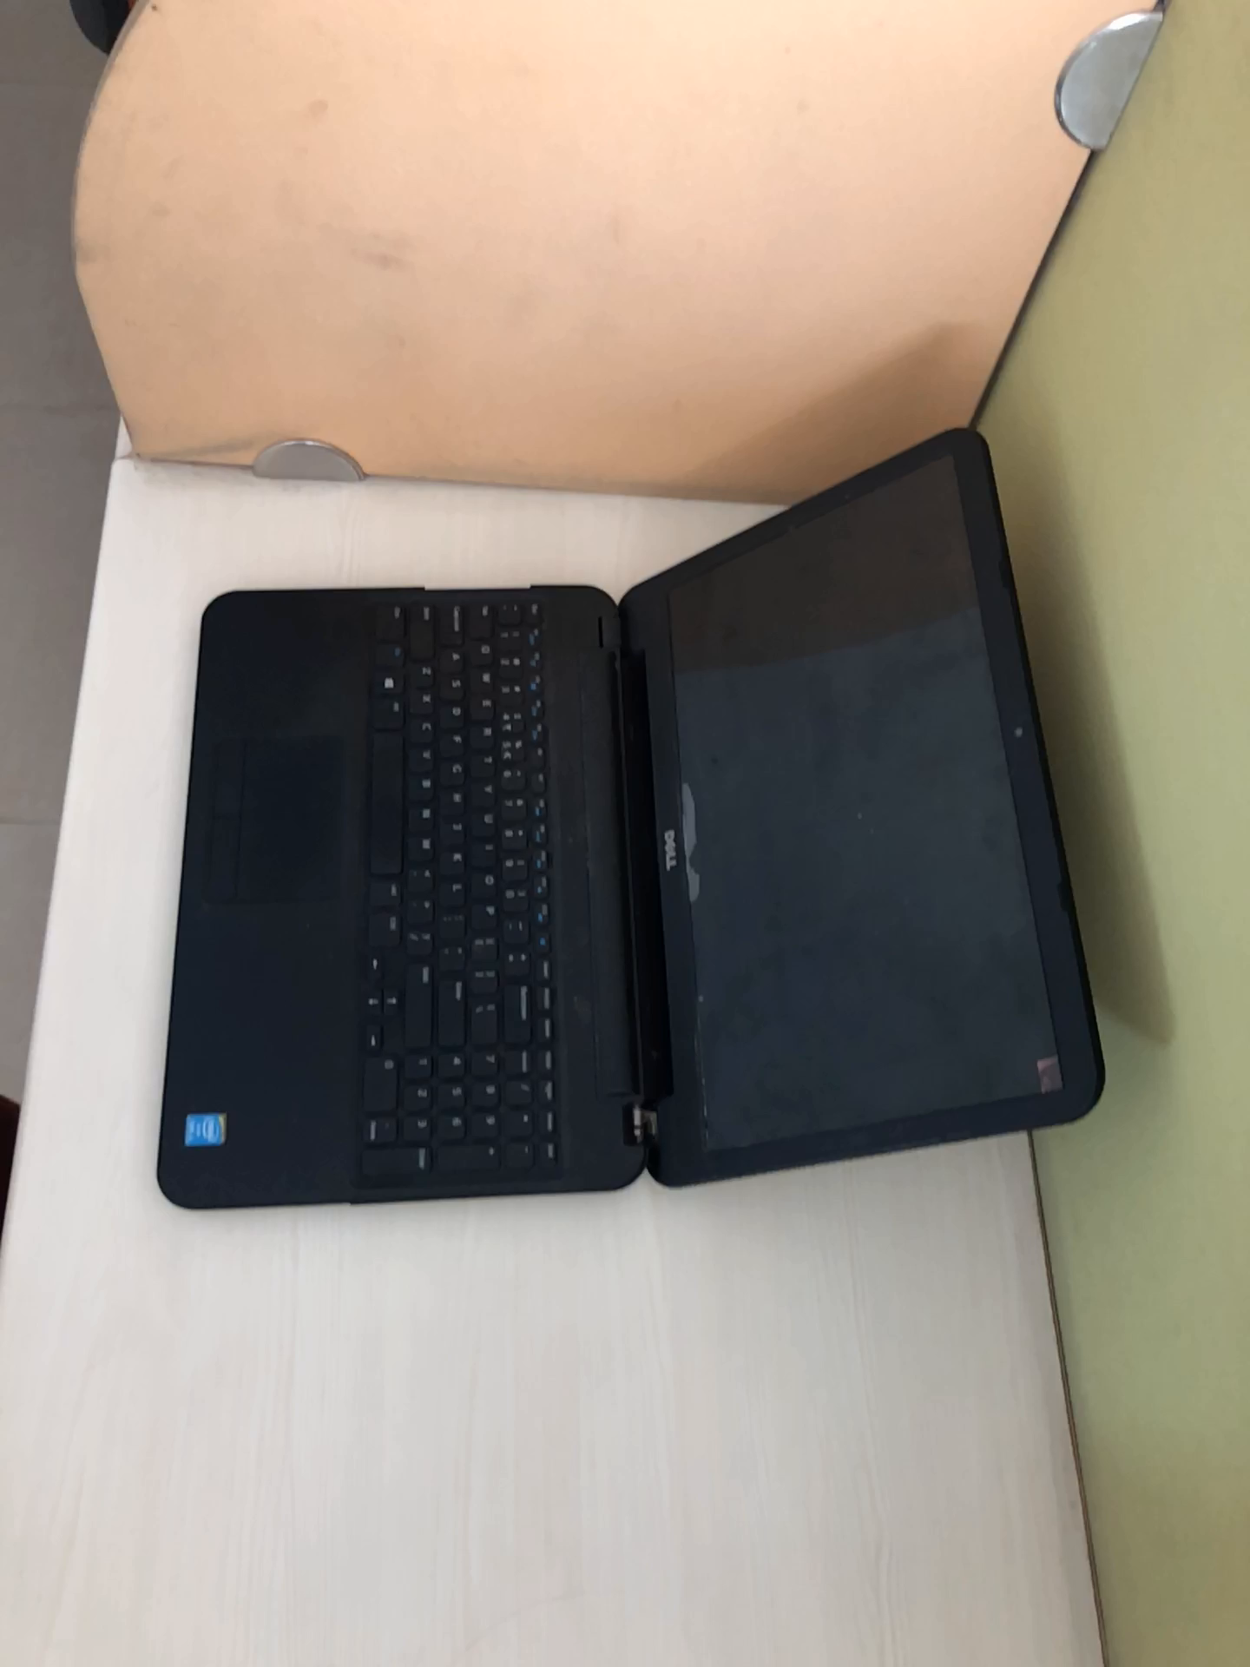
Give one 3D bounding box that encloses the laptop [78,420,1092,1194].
[{"bbox_3d":[-0.026,-0.013,0.720,0.424,0.166,0.357,-1,67,-5],"label":"laptop"}]
